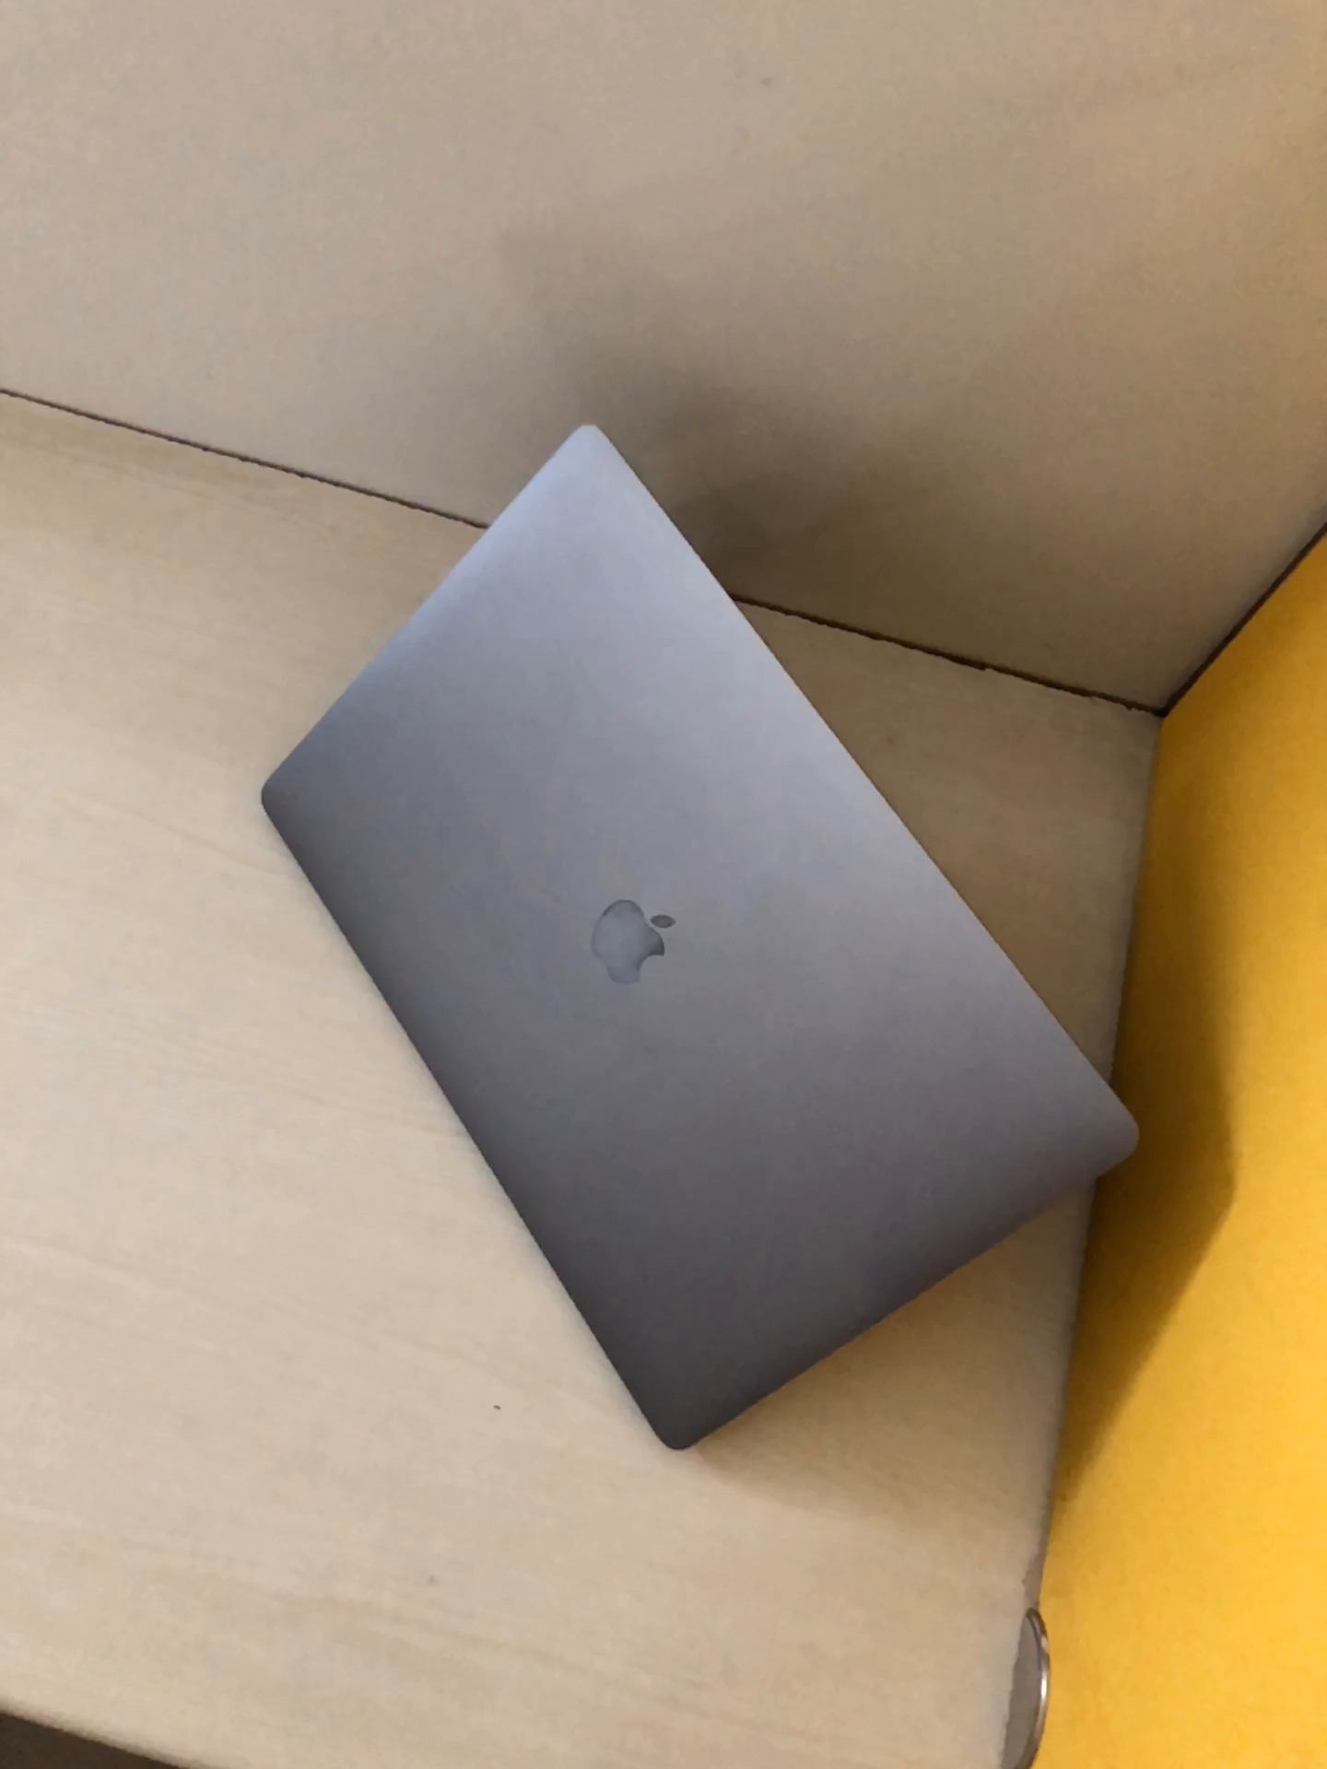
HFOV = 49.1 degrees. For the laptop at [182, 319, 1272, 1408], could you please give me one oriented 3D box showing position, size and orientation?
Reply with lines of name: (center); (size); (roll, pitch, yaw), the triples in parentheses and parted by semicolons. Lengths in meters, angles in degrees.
laptop: (0.012, -0.008, 0.591); (0.236, 0.152, 0.345); (-32, 76, -15)
